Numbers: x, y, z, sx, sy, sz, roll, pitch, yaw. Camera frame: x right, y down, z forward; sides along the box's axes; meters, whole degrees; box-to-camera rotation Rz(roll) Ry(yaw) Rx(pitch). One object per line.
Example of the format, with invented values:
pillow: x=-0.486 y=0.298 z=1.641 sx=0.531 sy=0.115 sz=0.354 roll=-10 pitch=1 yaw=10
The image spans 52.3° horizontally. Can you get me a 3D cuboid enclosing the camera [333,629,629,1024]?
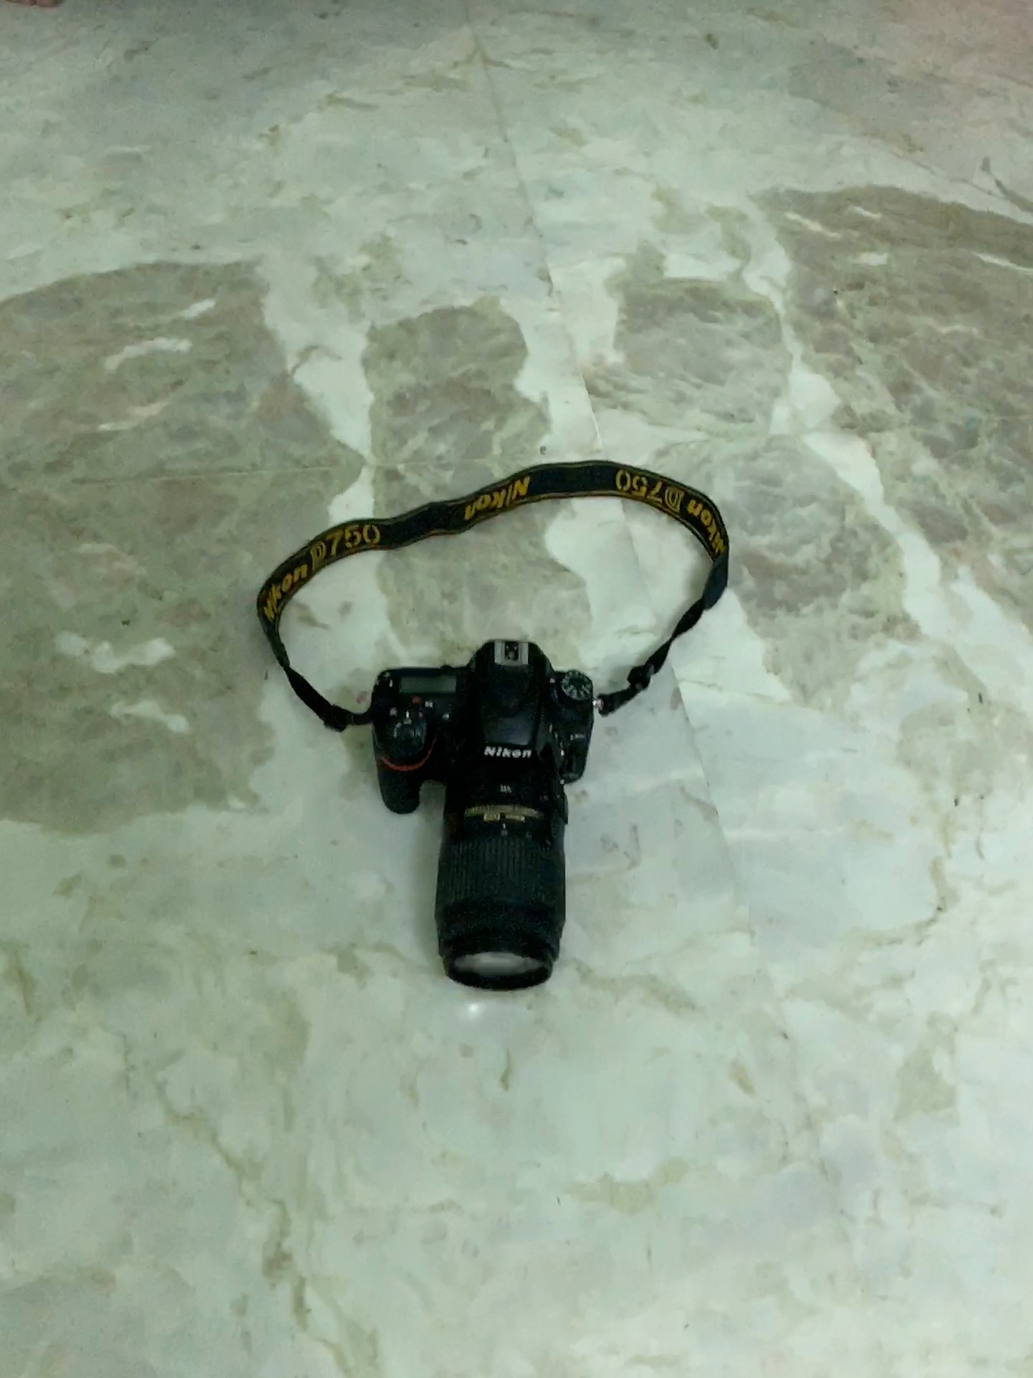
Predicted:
camera: x=-0.018 y=0.081 z=0.642 sx=0.150 sy=0.120 sz=0.200 roll=2 pitch=52 yaw=-1
